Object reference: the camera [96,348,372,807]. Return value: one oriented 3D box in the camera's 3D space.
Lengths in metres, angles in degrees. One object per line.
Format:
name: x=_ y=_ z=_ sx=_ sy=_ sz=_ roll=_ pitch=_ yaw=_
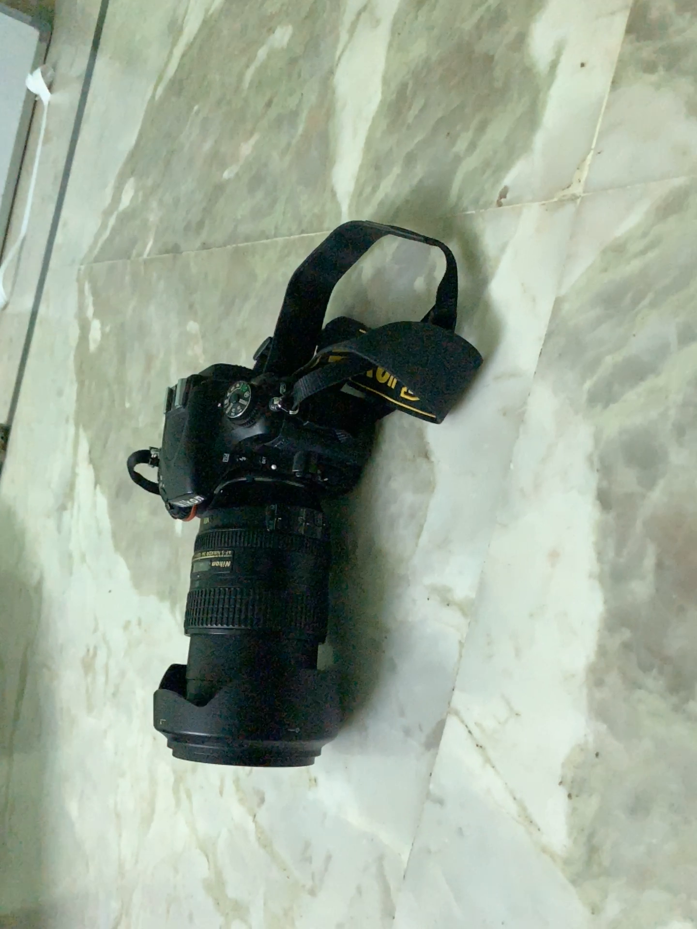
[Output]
camera: x=-0.067 y=0.065 z=0.404 sx=0.131 sy=0.089 sz=0.210 roll=-21 pitch=65 yaw=48
